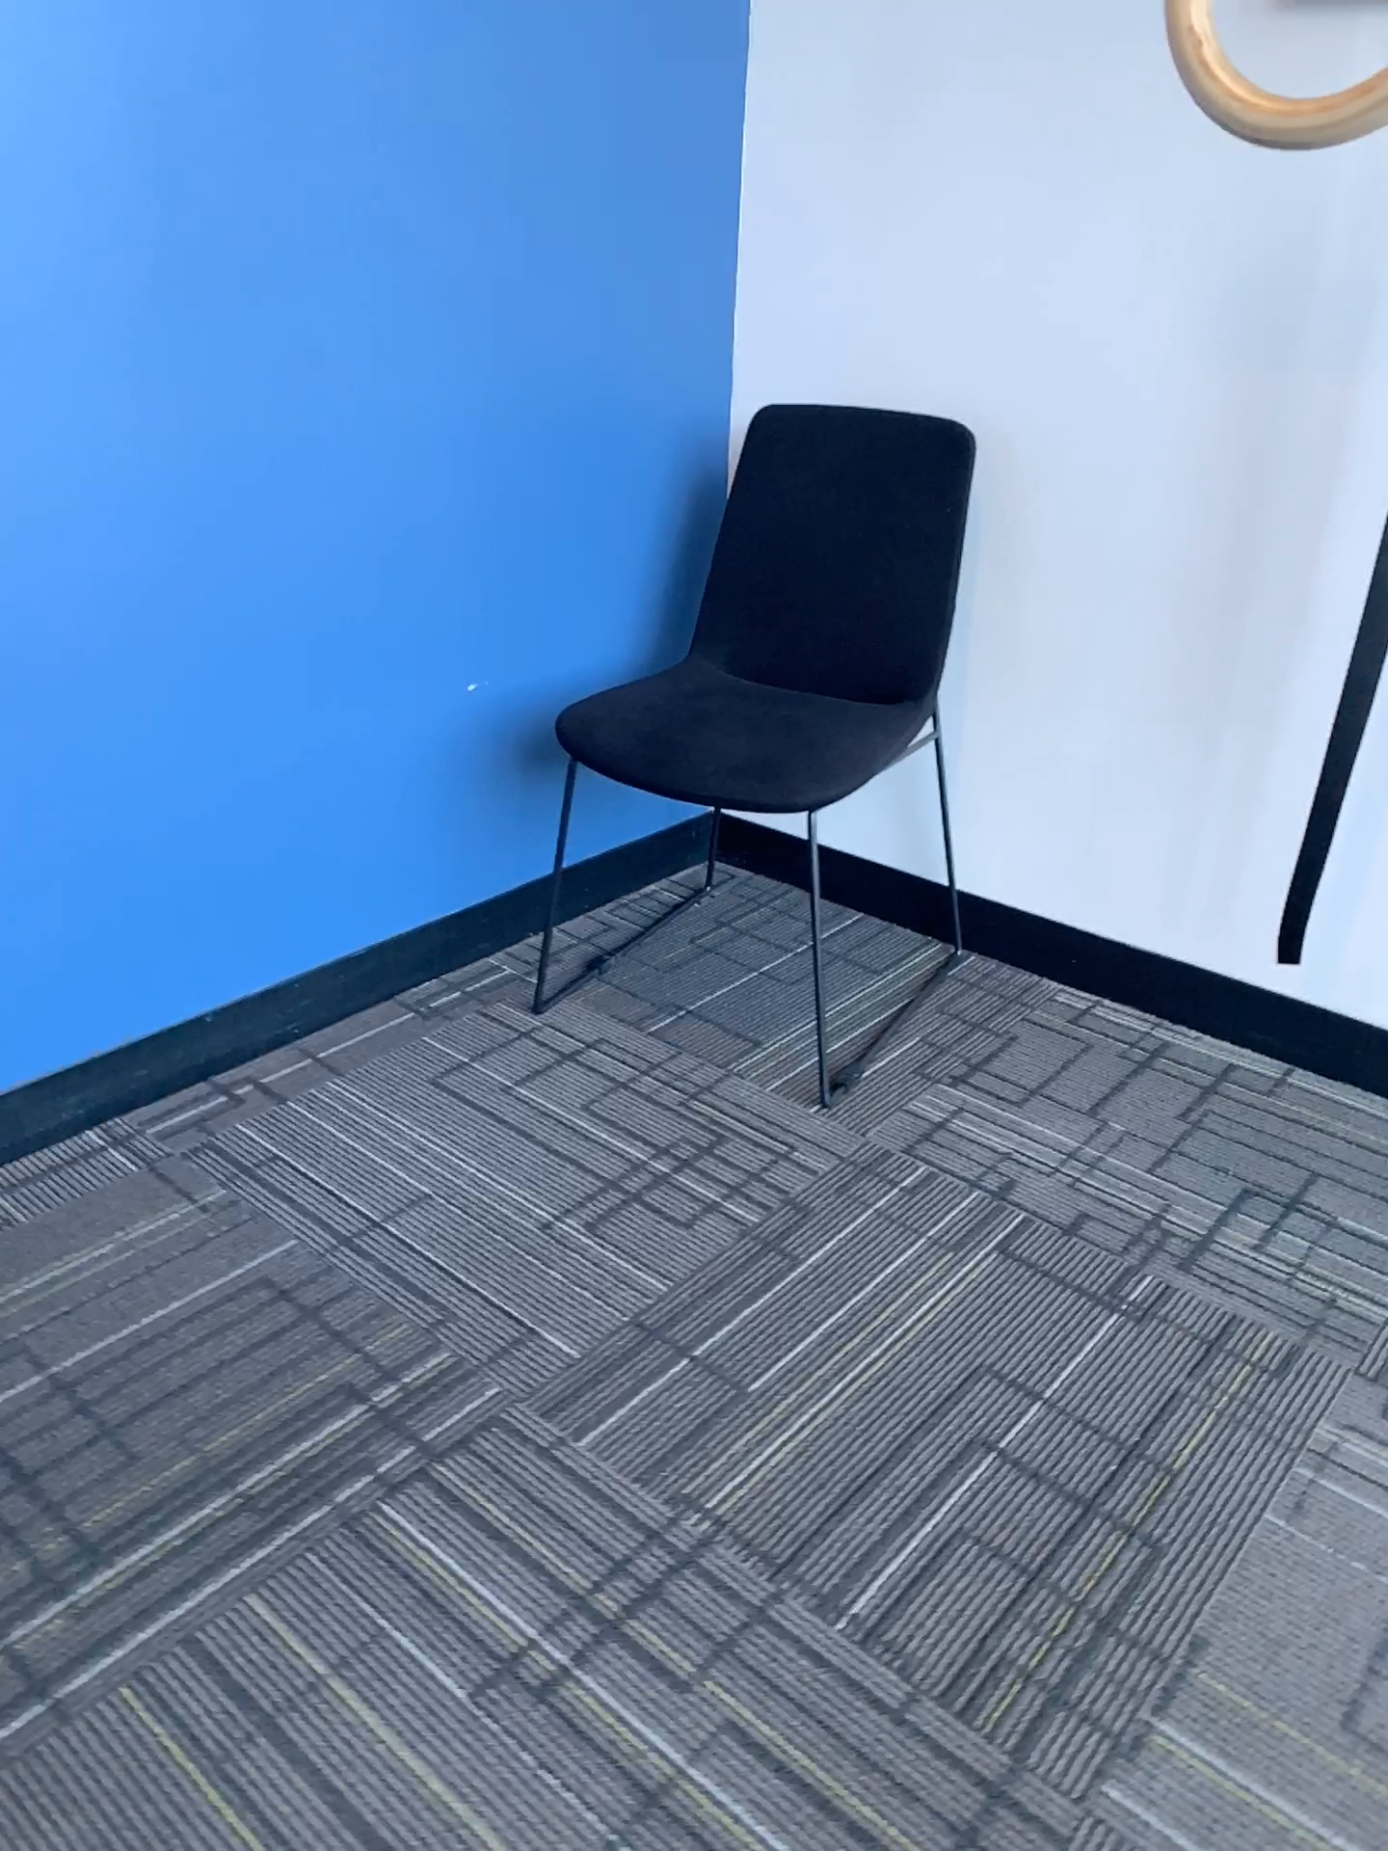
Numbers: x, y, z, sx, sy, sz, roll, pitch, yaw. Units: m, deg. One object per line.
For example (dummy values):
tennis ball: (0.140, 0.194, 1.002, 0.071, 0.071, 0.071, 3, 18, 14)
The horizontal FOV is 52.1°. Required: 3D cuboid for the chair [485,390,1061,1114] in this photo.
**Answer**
chair: (0.107, -0.279, 1.898, 0.501, 0.756, 0.582, 15, 28, 26)
